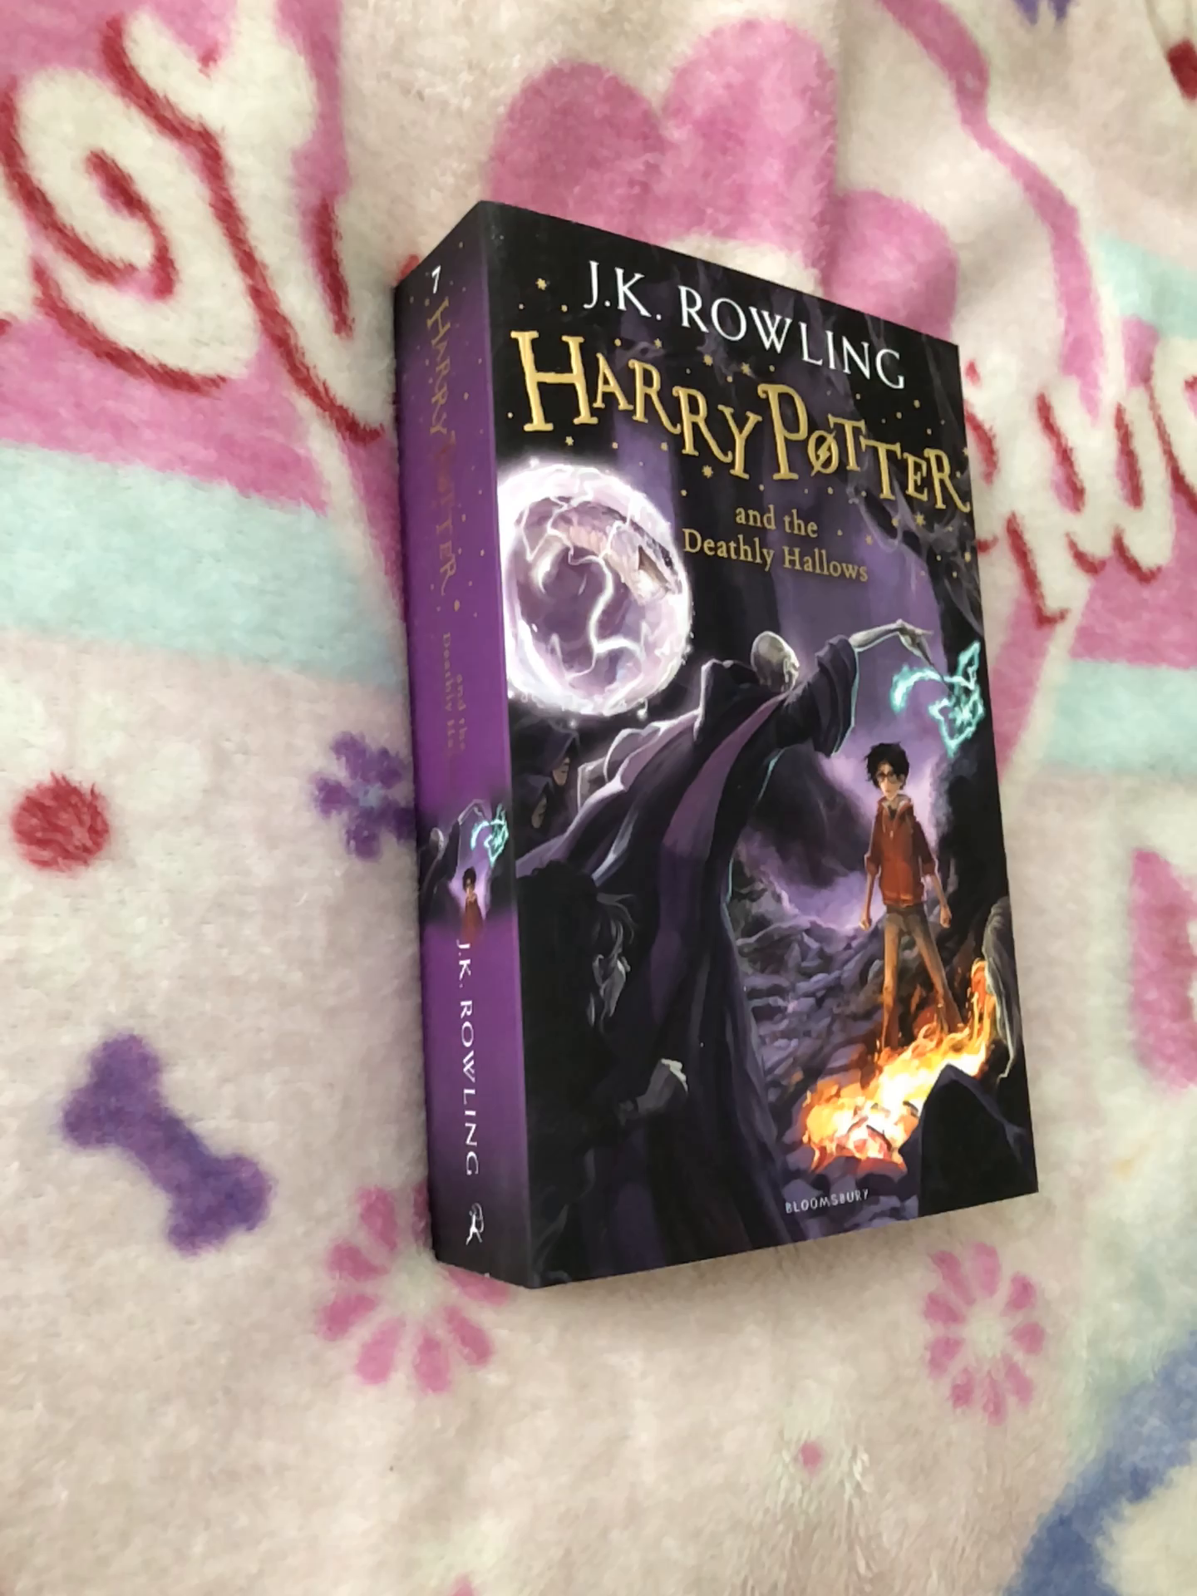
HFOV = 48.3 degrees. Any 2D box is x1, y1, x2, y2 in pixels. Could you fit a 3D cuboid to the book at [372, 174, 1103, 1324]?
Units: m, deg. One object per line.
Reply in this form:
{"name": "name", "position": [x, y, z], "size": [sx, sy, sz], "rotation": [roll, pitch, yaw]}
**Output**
{"name": "book", "position": [0.027, -0.007, 0.272], "size": [0.126, 0.060, 0.187], "rotation": [2, 81, -31]}
